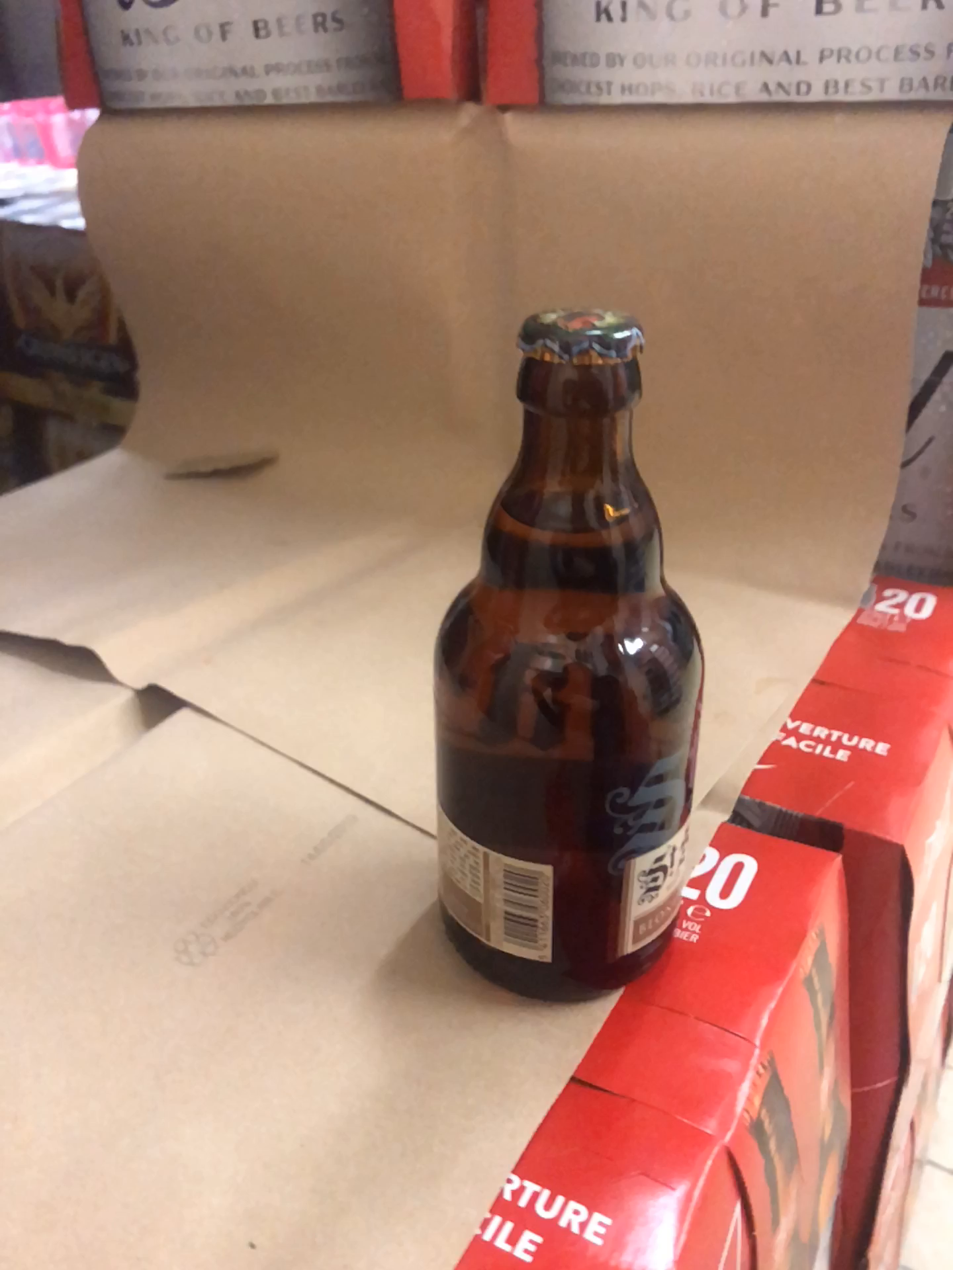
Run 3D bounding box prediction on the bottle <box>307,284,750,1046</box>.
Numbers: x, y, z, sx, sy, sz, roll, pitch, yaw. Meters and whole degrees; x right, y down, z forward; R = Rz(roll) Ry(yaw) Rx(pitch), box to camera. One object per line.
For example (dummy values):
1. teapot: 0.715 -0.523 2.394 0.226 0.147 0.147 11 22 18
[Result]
1. bottle: 0.019 0.008 0.266 0.080 0.169 0.081 -2 30 1
